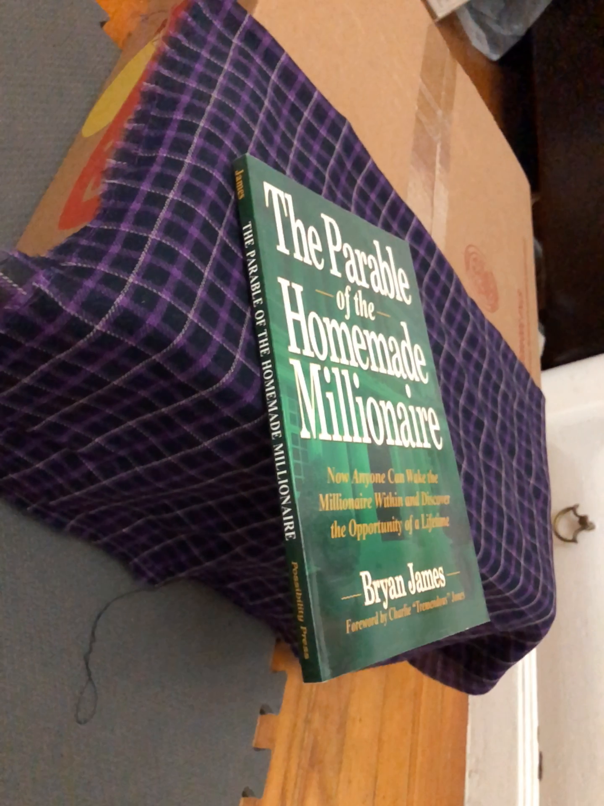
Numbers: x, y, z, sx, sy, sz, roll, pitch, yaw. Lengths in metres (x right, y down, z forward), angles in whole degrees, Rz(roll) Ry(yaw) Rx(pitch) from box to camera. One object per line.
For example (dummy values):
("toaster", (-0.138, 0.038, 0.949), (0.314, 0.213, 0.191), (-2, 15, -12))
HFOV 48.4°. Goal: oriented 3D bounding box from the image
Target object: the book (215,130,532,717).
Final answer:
("book", (0.040, 0.006, 0.301), (0.161, 0.020, 0.210), (8, 69, -50))
